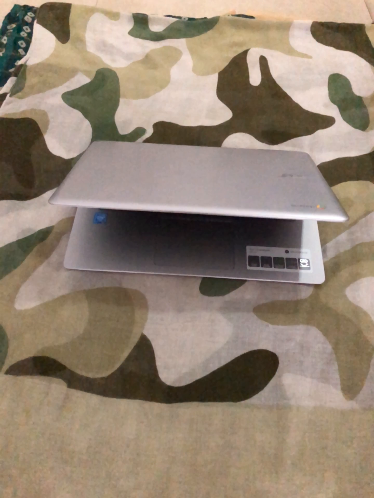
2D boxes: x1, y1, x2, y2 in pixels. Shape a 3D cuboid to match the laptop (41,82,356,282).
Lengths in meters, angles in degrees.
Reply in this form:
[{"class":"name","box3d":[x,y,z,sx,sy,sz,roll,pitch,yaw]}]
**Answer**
[{"class":"laptop","box3d":[0.013,-0.092,0.532,0.311,0.124,0.234,3,53,1]}]
